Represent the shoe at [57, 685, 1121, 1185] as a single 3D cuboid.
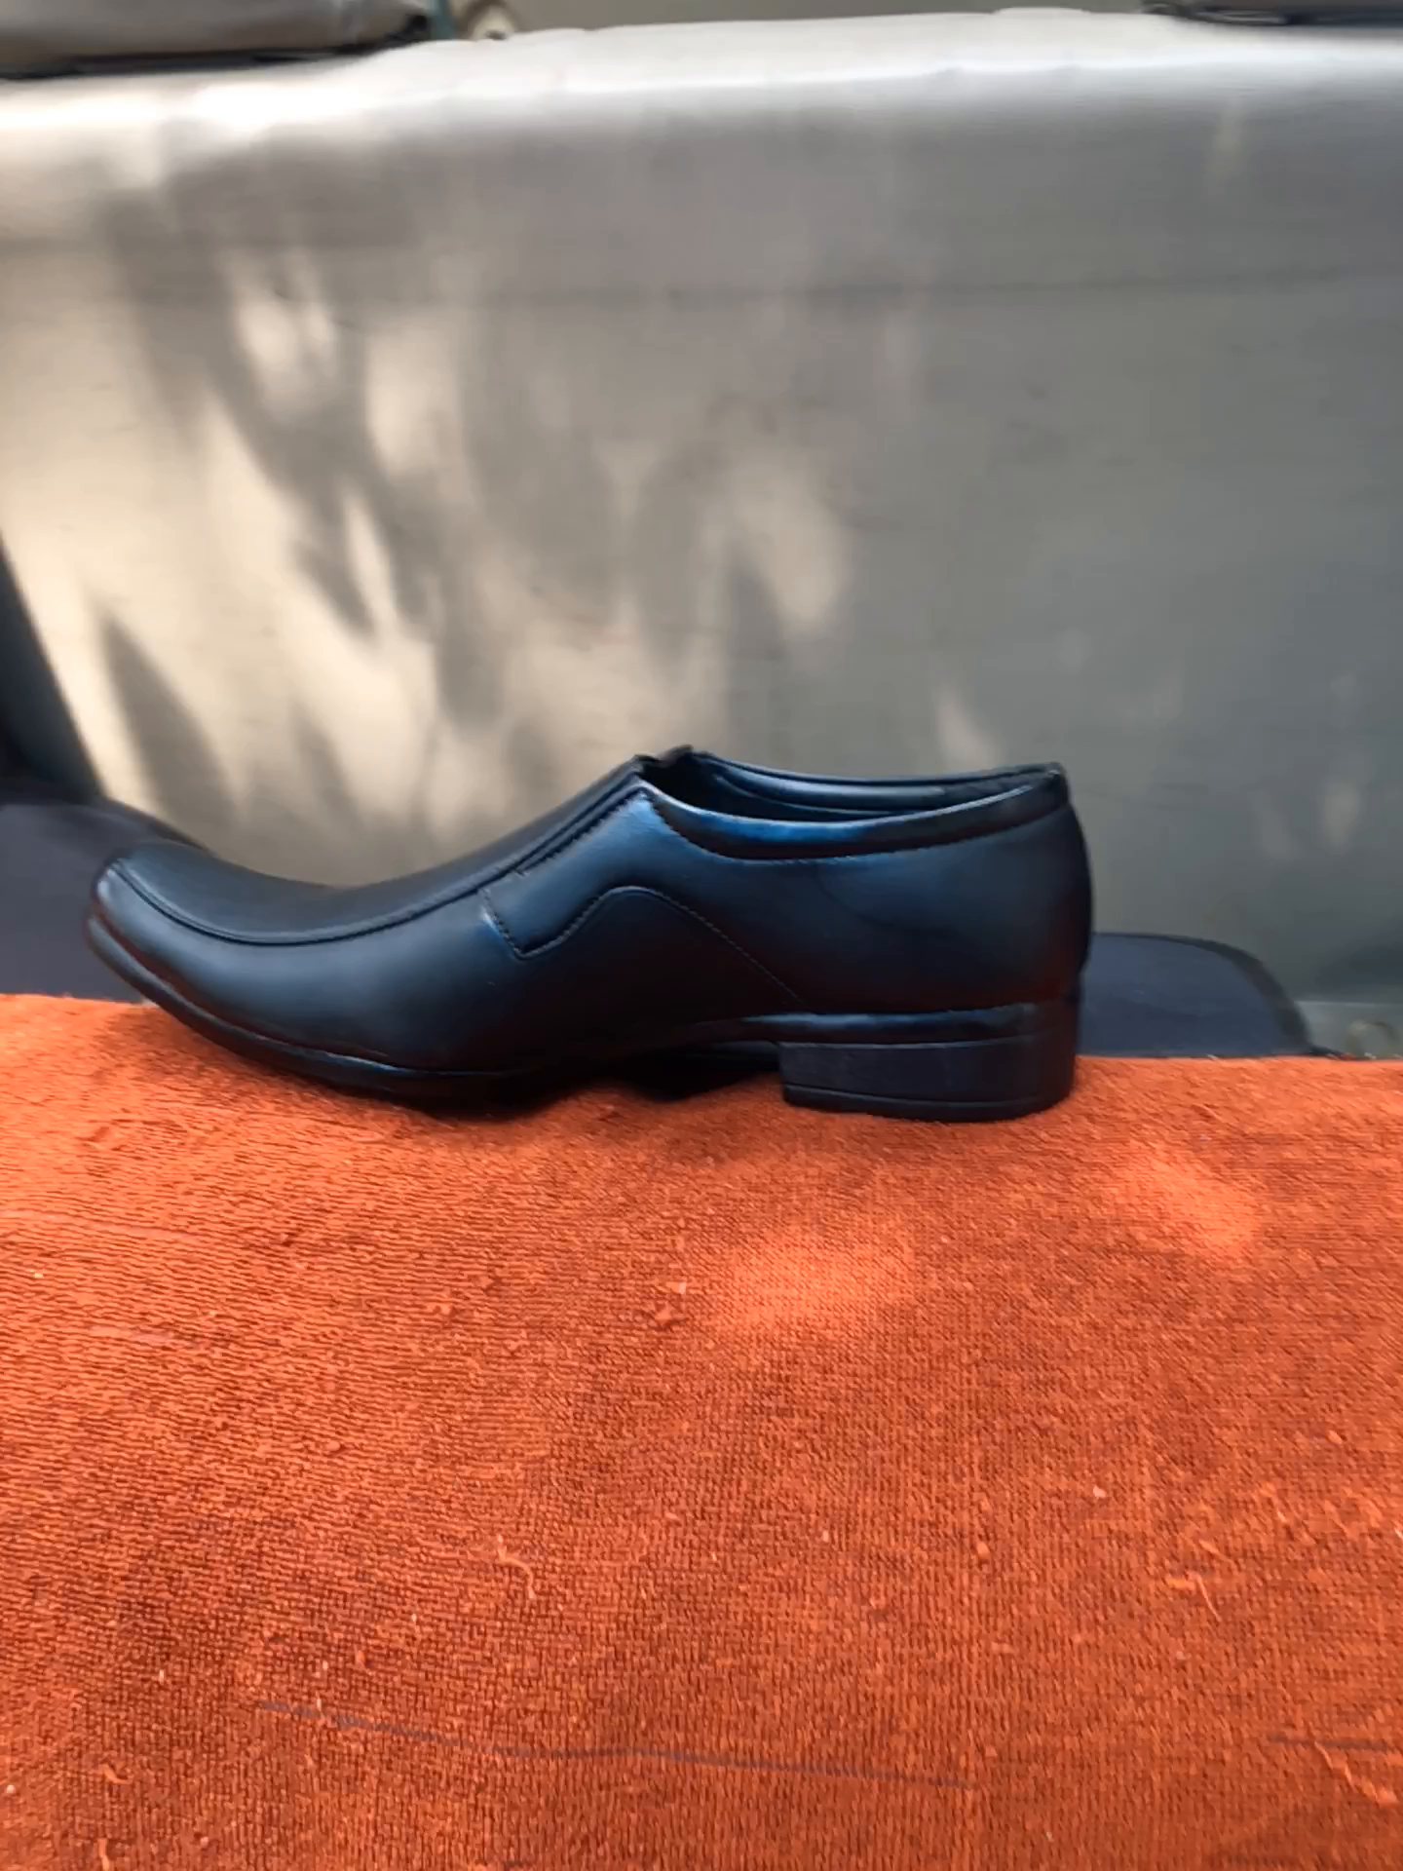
[{"bbox_3d":[-0.026,-0.017,0.495,0.290,0.100,0.161,5,15,19],"label":"shoe"}]
